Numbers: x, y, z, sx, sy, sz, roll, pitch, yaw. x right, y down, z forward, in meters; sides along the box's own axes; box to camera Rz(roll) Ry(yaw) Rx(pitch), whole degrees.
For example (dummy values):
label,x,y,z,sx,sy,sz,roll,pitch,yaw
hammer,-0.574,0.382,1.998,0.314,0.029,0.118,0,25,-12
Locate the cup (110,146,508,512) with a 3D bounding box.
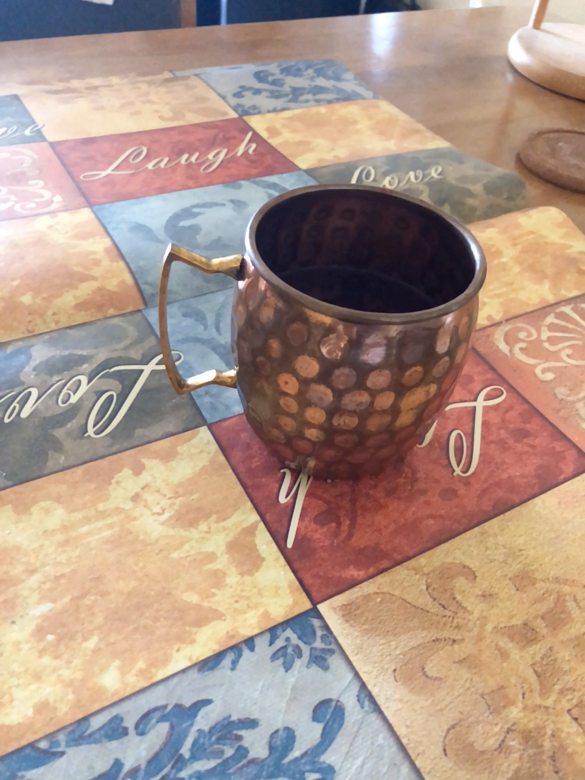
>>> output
label,x,y,z,sx,sy,sz,roll,pitch,yaw
cup,0.005,-0.025,0.262,0.120,0.090,0.100,7,45,0
